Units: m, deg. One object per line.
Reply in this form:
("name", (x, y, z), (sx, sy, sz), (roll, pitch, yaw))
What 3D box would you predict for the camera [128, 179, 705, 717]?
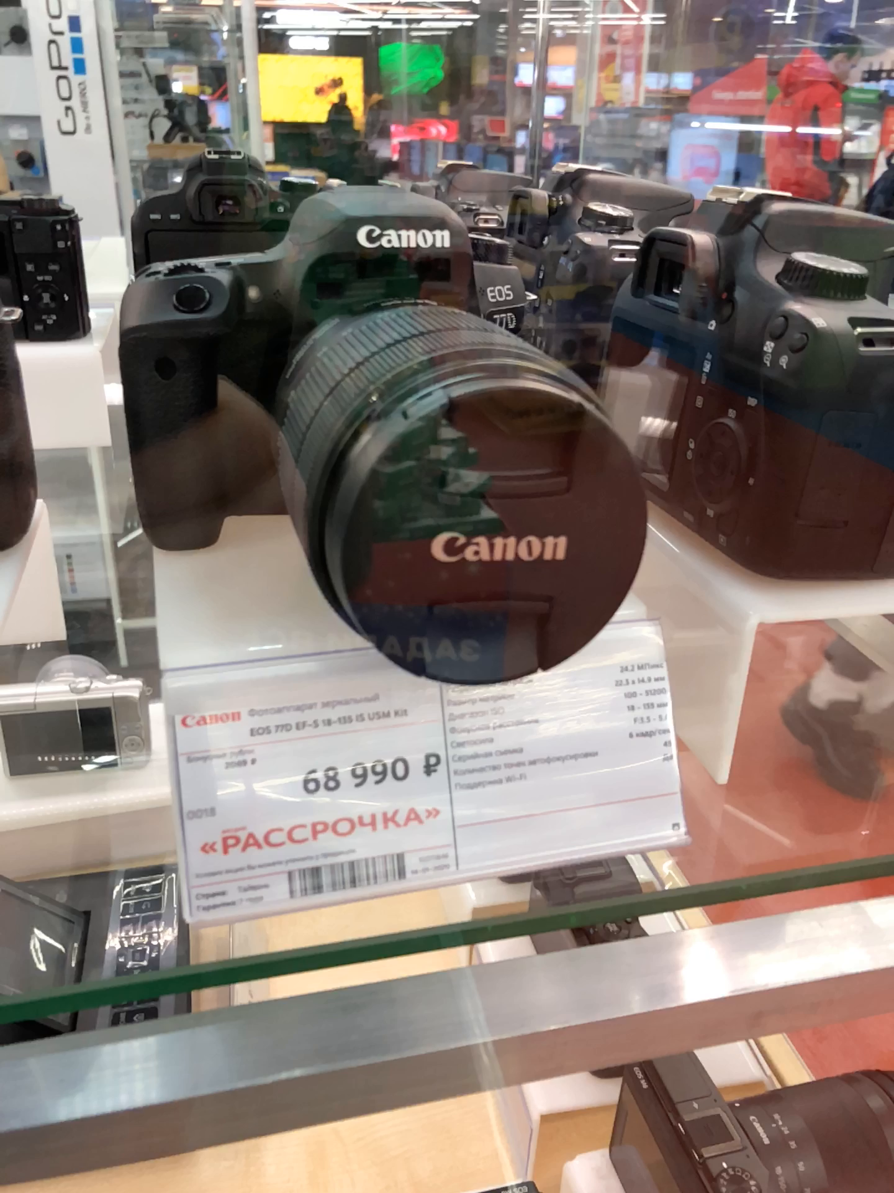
("camera", (-0.025, -0.065, 0.318), (0.132, 0.119, 0.168), (-5, 26, -14))
